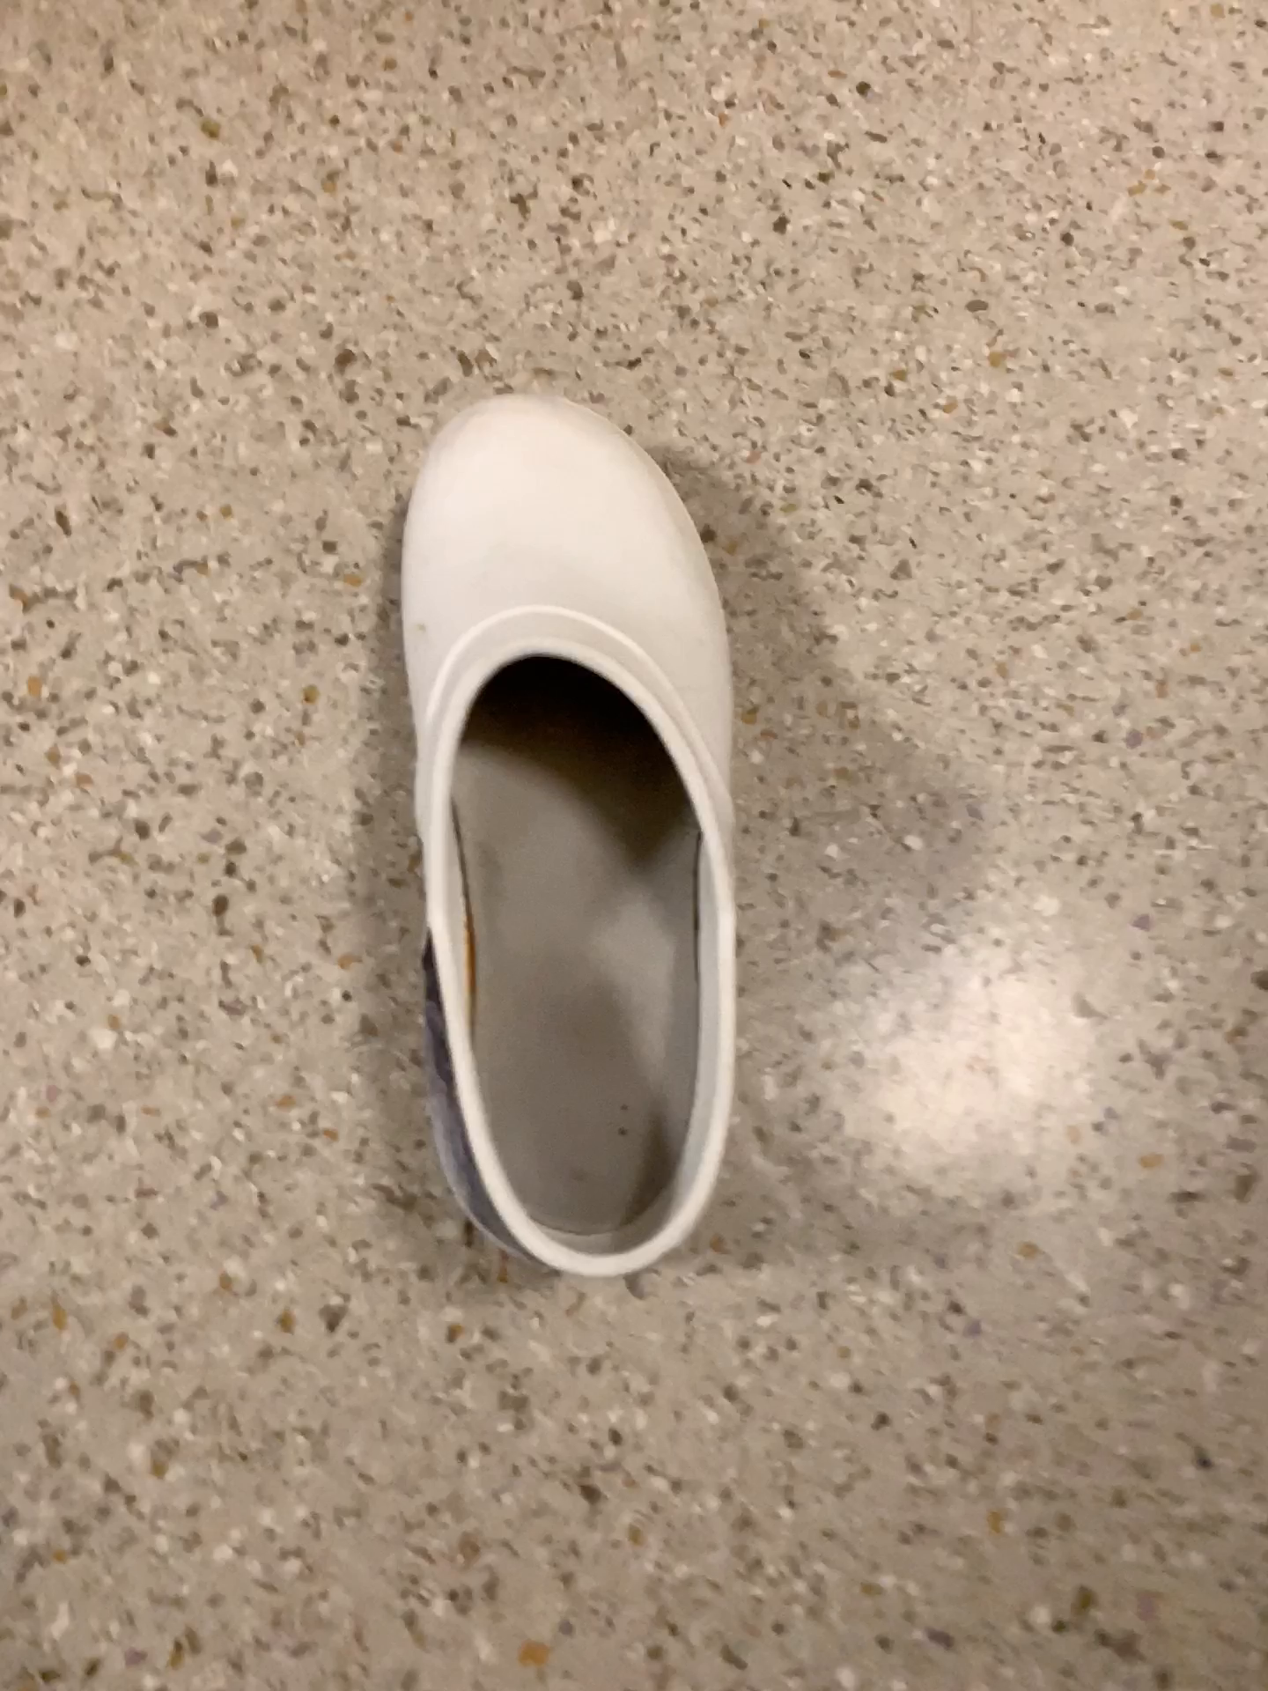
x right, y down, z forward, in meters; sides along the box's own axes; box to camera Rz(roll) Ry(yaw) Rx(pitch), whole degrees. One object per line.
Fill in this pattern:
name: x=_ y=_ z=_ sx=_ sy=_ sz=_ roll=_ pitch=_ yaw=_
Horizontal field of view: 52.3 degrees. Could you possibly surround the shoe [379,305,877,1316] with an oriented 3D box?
shoe: x=-0.010 y=-0.010 z=0.365 sx=0.107 sy=0.101 sz=0.255 roll=-3 pitch=74 yaw=-3
